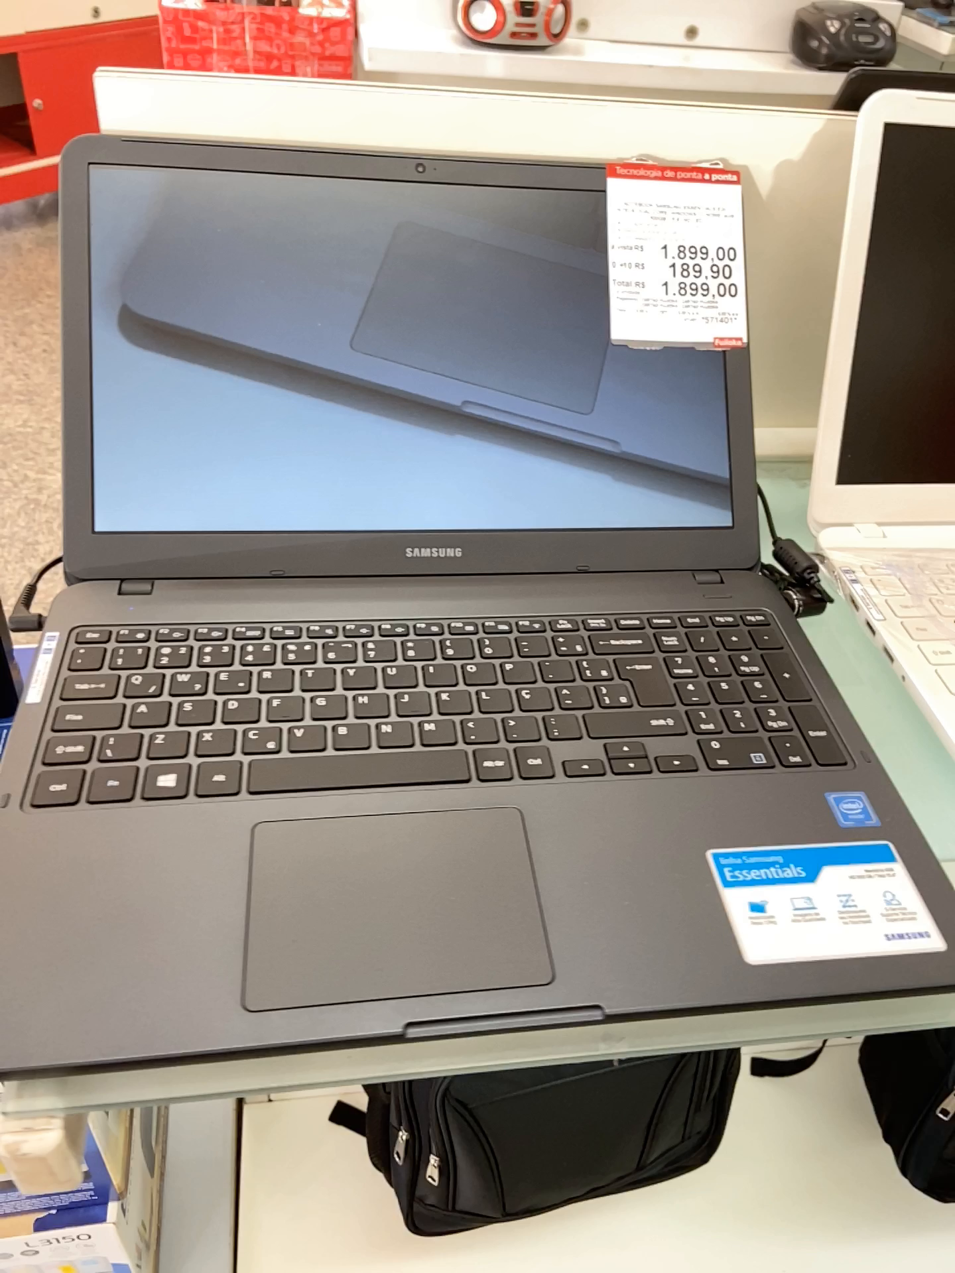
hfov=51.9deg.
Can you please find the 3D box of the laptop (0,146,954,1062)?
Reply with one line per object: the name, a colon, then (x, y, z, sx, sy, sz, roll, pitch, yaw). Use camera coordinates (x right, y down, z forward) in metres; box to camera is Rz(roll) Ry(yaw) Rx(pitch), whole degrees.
laptop: (-0.010, -0.068, 0.441, 0.367, 0.156, 0.413, -2, 42, -8)
